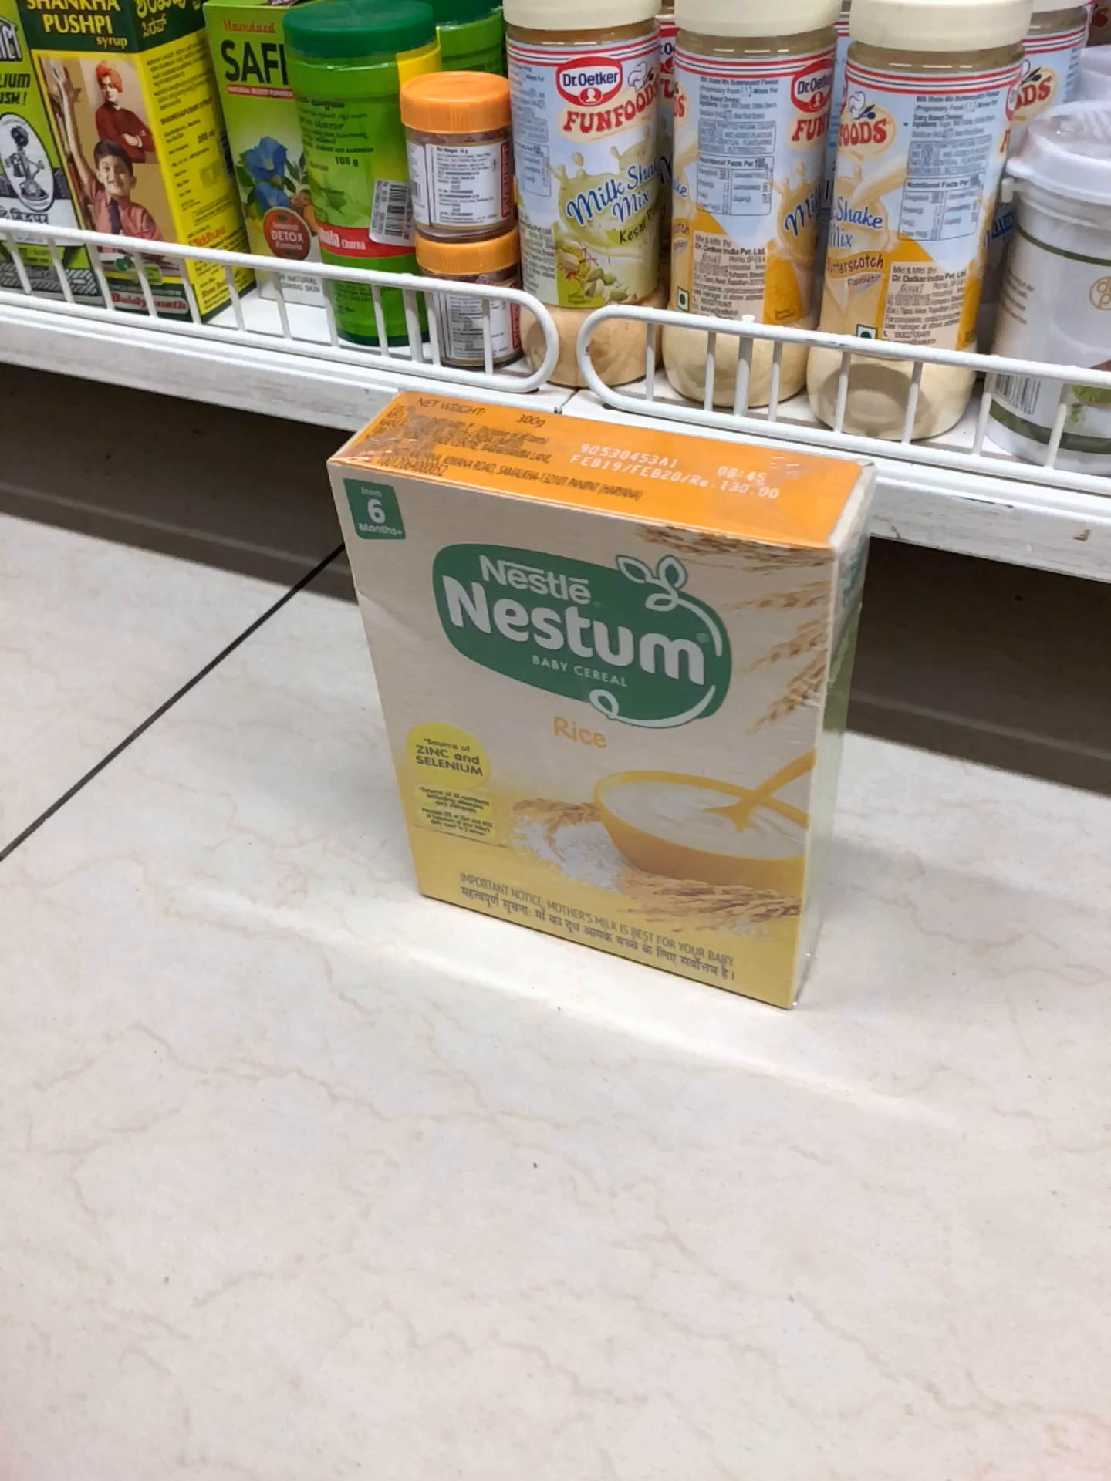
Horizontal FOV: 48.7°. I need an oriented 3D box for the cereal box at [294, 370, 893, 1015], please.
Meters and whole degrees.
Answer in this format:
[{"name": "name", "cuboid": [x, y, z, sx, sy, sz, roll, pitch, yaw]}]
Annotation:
[{"name": "cereal box", "cuboid": [0.013, -0.011, 0.403, 0.160, 0.189, 0.050, 14, 44, 20]}]
